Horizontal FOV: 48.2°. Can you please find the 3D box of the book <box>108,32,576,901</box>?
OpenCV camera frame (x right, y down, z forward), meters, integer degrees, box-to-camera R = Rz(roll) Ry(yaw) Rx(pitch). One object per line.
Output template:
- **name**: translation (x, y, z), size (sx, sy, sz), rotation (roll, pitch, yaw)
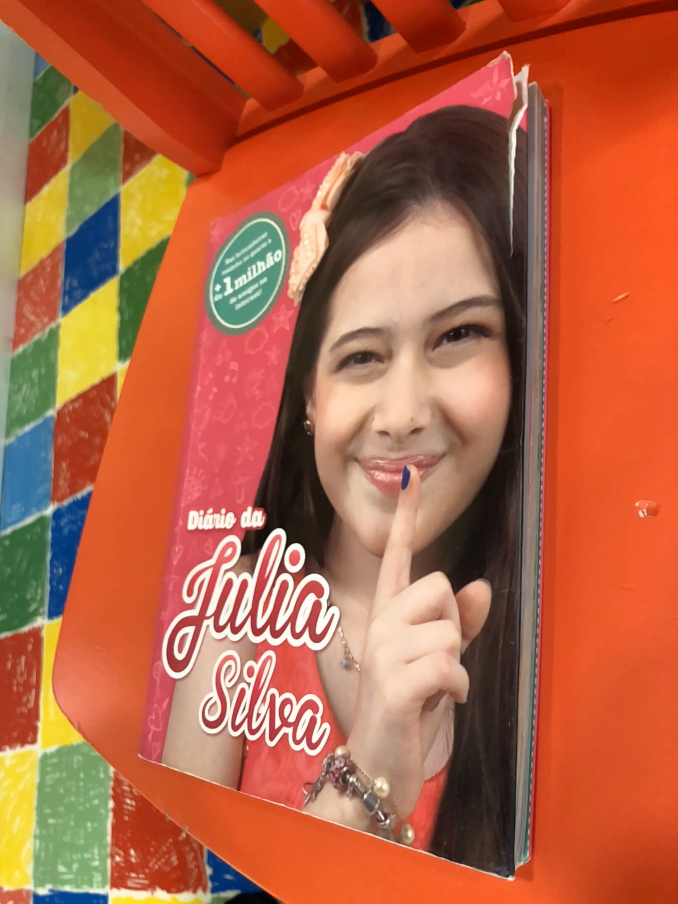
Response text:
- **book**: translation (-0.005, -0.003, 0.268), size (0.171, 0.020, 0.241), rotation (-6, 72, 41)
